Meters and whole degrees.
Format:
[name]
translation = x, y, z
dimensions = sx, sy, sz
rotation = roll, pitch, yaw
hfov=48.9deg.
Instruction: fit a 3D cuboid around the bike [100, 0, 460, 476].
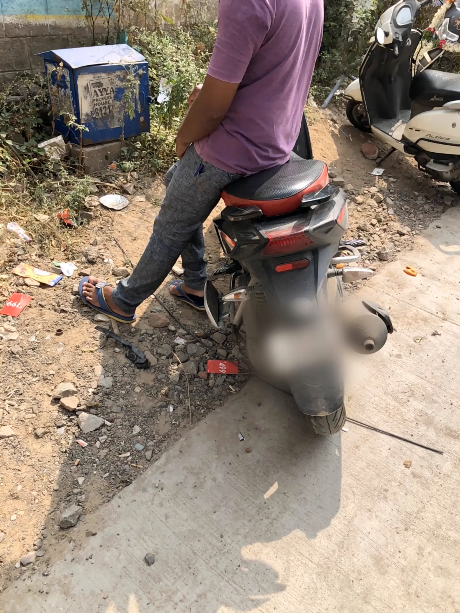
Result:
[bike]
translation = -0.070, -0.529, 1.917
dimensions = 0.718, 1.199, 1.774
rotation = -3, 38, -13
